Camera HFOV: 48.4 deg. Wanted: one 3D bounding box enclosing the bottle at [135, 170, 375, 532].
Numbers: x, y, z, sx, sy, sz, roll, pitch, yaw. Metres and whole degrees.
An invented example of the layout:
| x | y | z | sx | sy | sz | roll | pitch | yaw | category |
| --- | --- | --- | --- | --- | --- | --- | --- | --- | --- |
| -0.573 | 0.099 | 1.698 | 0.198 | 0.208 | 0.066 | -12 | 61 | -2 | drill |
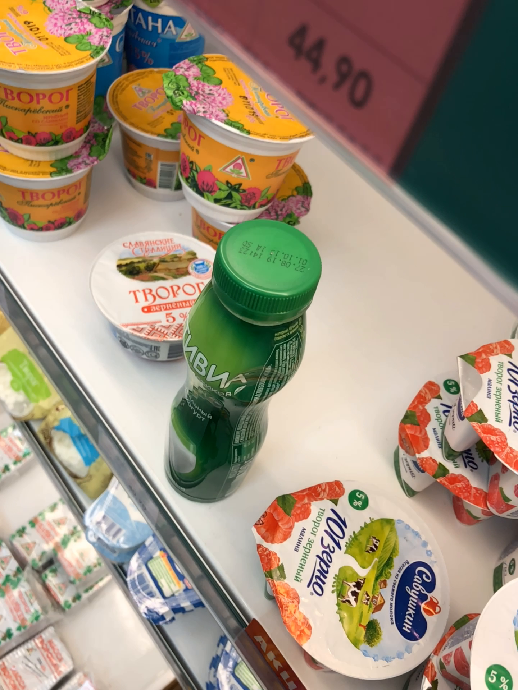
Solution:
| x | y | z | sx | sy | sz | roll | pitch | yaw | category |
| --- | --- | --- | --- | --- | --- | --- | --- | --- | --- |
| -0.019 | 0.018 | 0.281 | 0.060 | 0.189 | 0.070 | -16 | 60 | -23 | bottle |
